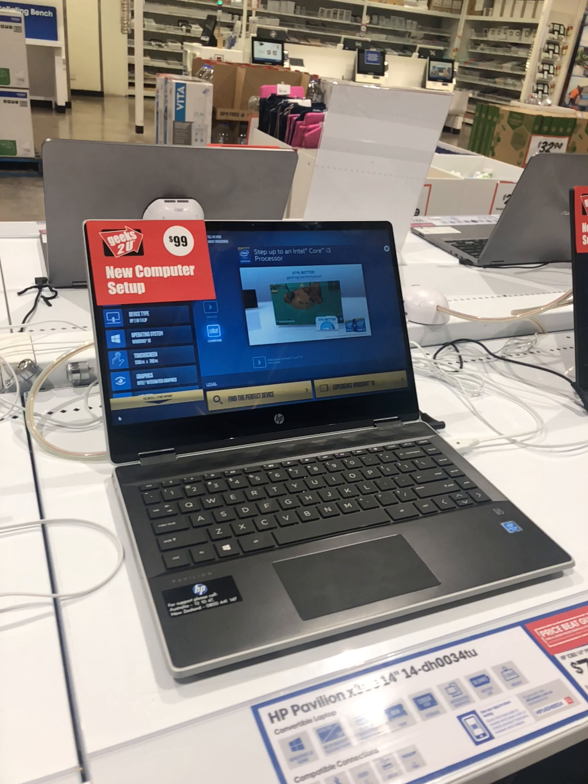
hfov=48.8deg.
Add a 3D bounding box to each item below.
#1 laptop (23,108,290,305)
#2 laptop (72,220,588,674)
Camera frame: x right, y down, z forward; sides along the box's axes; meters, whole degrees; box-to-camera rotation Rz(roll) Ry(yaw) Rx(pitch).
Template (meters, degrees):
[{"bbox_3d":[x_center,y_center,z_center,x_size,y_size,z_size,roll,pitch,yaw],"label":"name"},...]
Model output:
[{"bbox_3d":[-0.227,-0.294,0.985,0.306,0.199,0.358,-6,30,-23],"label":"laptop"},{"bbox_3d":[0.011,-0.009,0.533,0.316,0.169,0.340,-6,31,-24],"label":"laptop"}]
